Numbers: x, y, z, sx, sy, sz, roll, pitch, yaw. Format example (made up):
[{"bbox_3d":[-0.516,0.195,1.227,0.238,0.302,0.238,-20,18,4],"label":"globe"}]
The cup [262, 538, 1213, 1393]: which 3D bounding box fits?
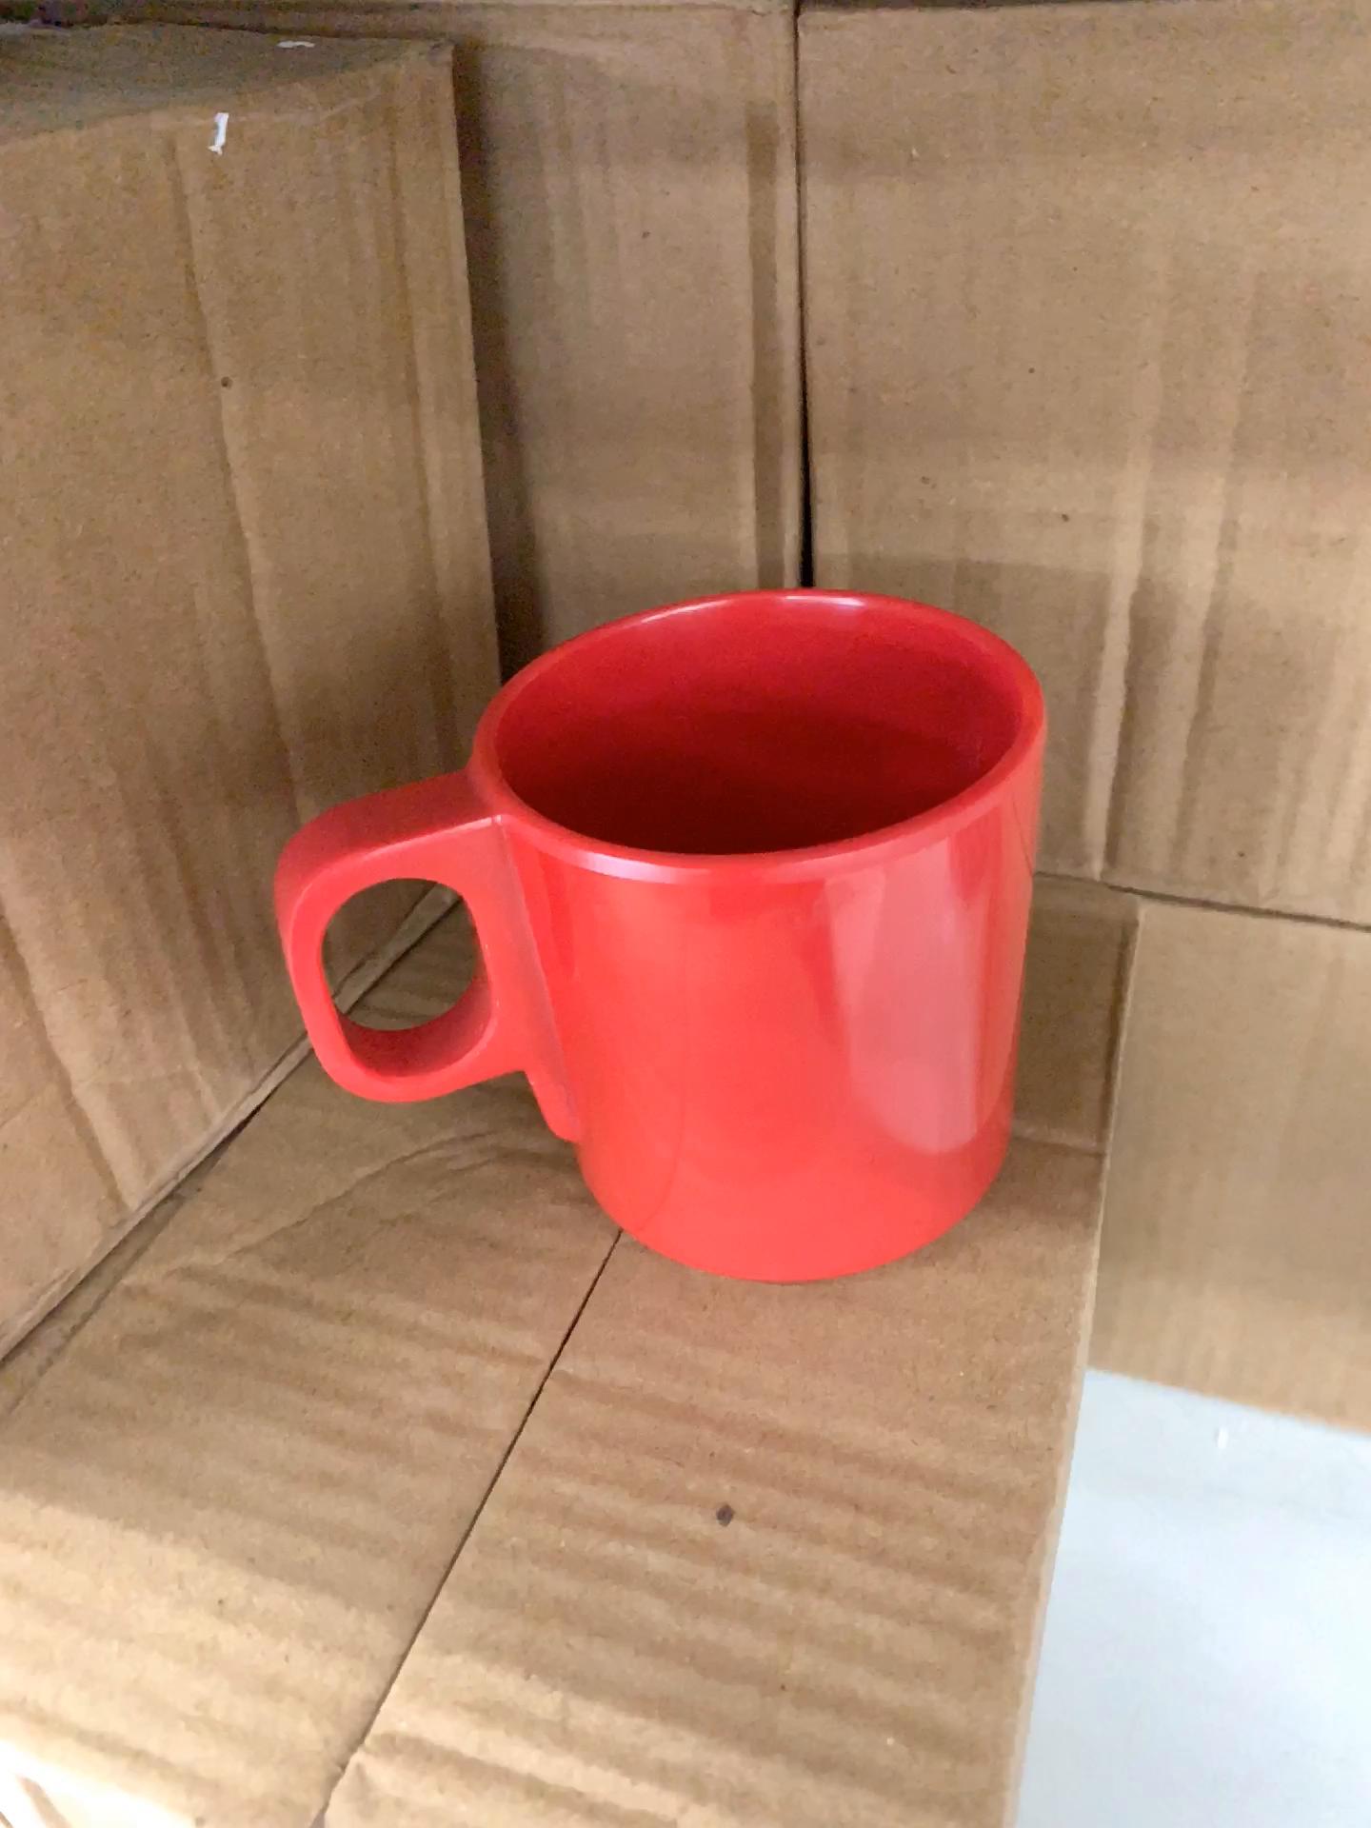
[{"bbox_3d":[0.003,0.004,0.199,0.103,0.073,0.066,-13,38,-9],"label":"cup"}]
